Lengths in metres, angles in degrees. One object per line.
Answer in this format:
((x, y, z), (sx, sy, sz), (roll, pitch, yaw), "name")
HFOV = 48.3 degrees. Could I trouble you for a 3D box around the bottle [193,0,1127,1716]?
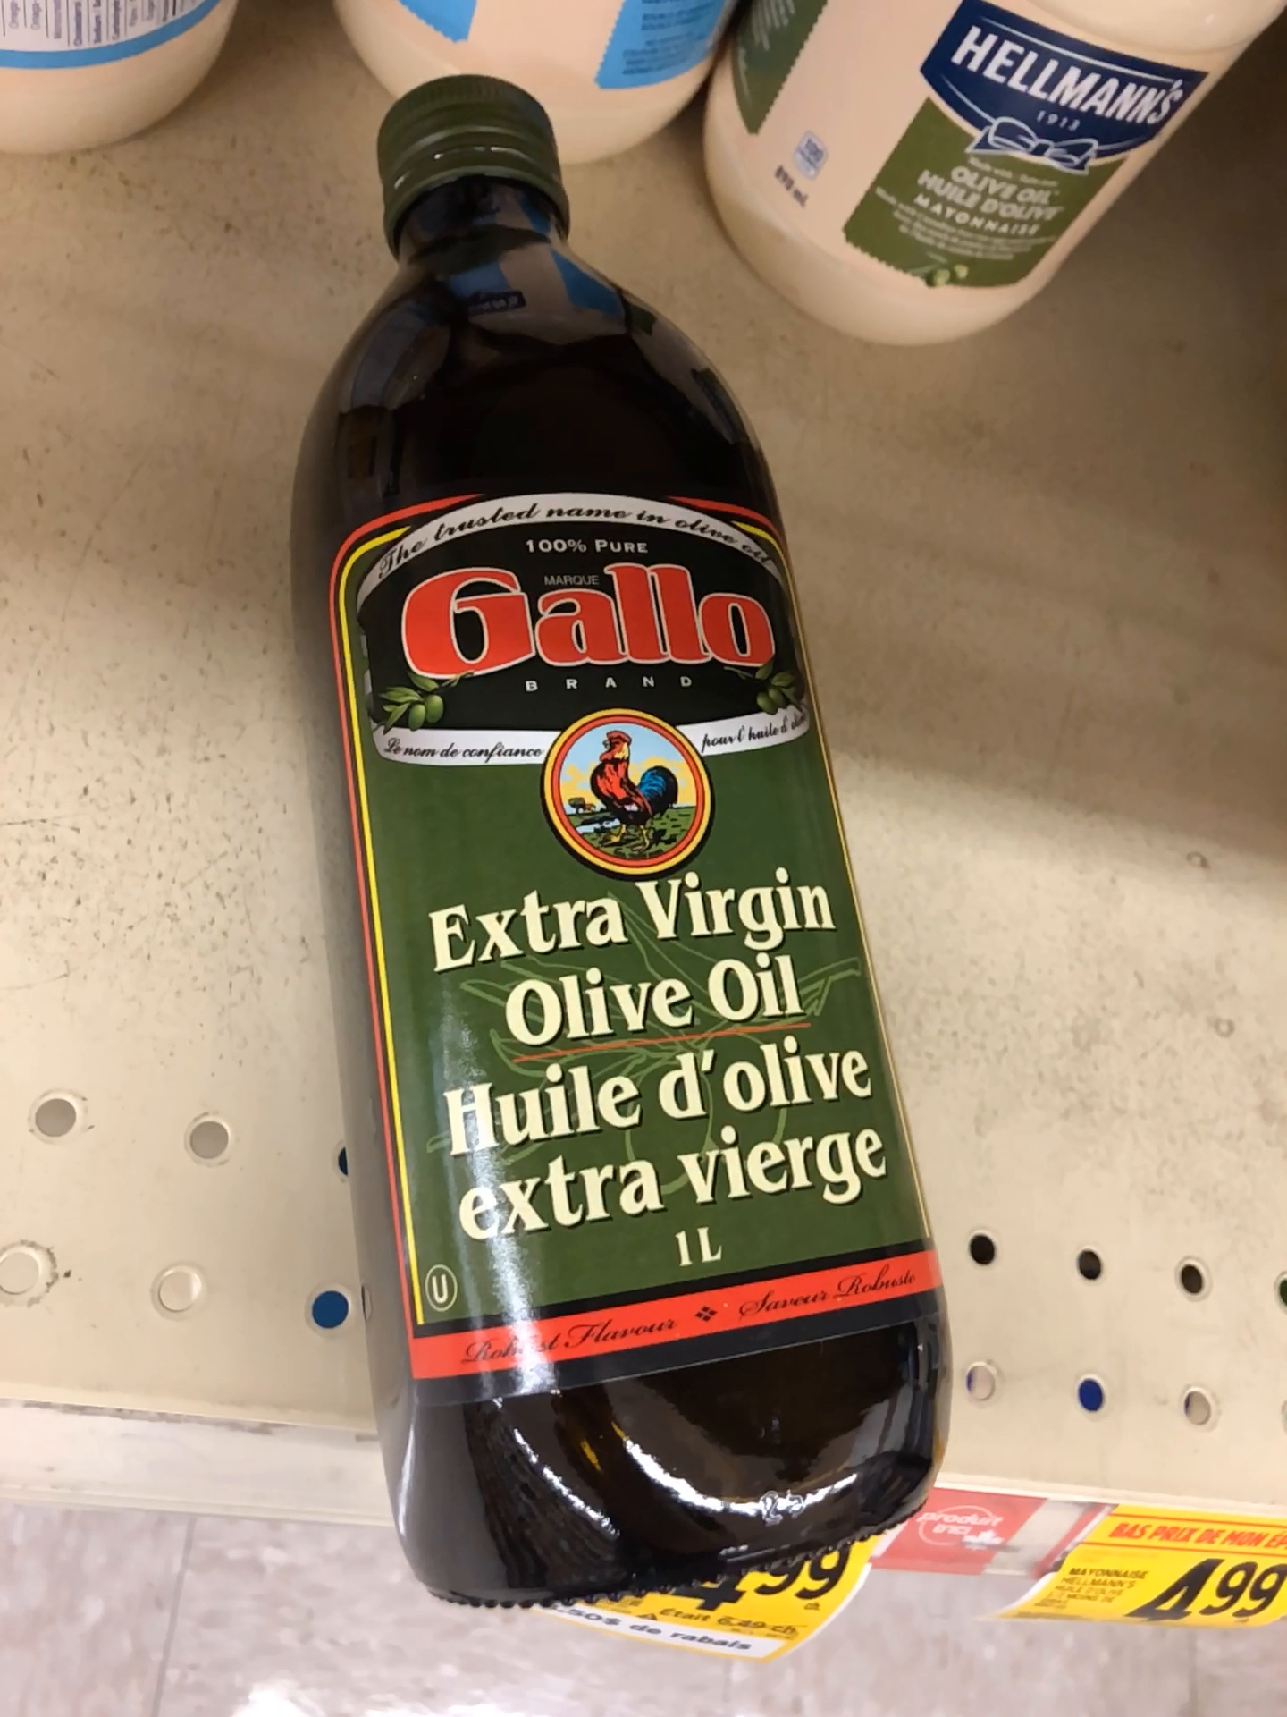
((-0.017, -0.027, 0.244), (0.090, 0.090, 0.271), (-4, 73, -21), "bottle")
